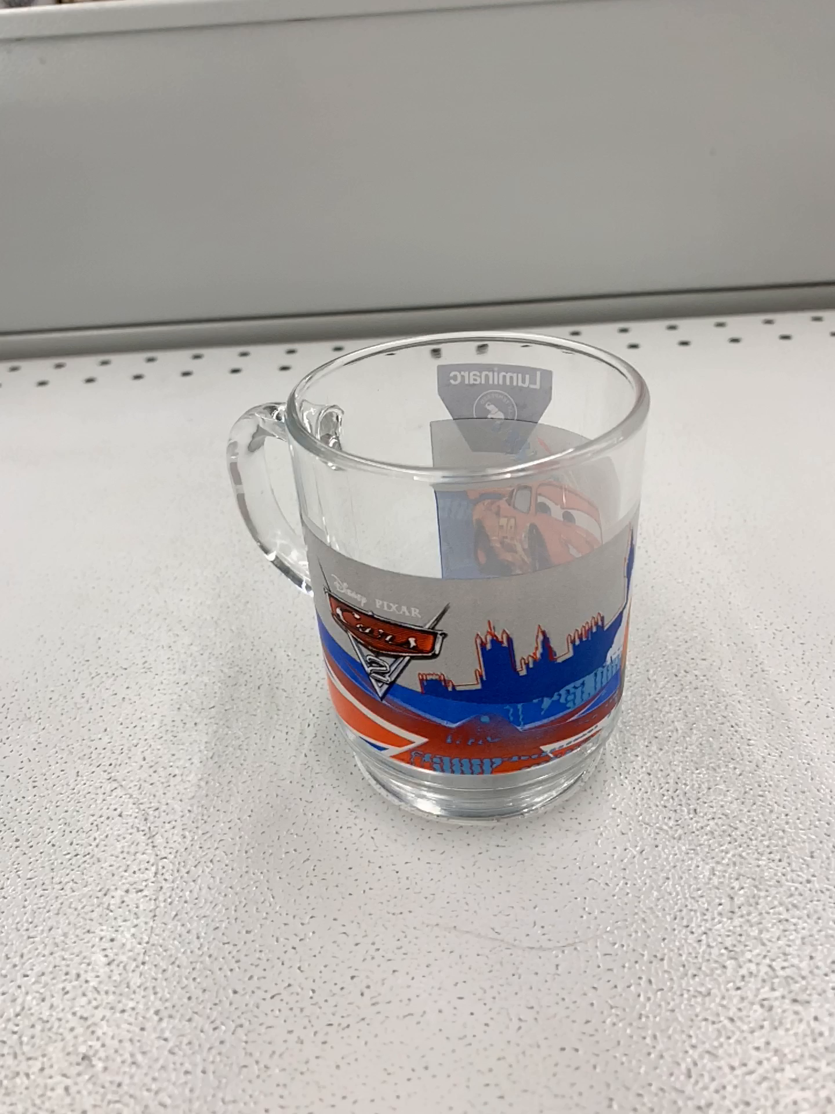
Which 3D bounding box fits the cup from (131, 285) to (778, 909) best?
[{"bbox_3d":[0.007,-0.002,0.189,0.102,0.081,0.072,23,41,36],"label":"cup"}]
